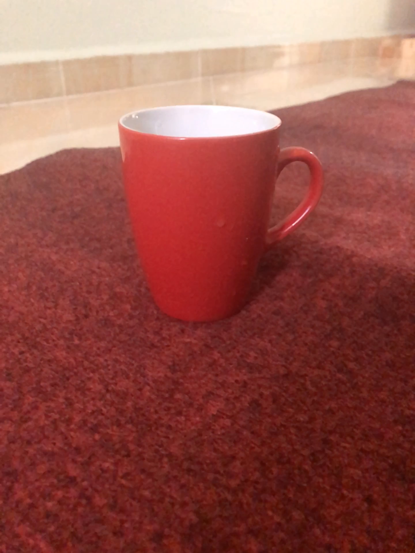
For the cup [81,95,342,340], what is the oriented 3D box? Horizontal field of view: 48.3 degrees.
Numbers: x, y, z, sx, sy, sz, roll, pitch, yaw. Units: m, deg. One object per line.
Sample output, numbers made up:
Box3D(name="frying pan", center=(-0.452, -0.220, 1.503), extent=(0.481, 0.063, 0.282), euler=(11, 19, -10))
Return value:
Box3D(name="cup", center=(0.003, -0.042, 0.259), extent=(0.109, 0.094, 0.078), euler=(-22, 36, -34))
